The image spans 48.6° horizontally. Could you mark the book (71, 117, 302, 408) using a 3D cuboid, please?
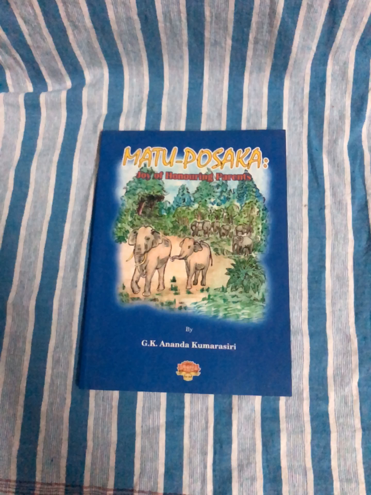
[{"bbox_3d":[0.005,0.002,0.337,0.170,0.020,0.230,2,77,5],"label":"book"}]
